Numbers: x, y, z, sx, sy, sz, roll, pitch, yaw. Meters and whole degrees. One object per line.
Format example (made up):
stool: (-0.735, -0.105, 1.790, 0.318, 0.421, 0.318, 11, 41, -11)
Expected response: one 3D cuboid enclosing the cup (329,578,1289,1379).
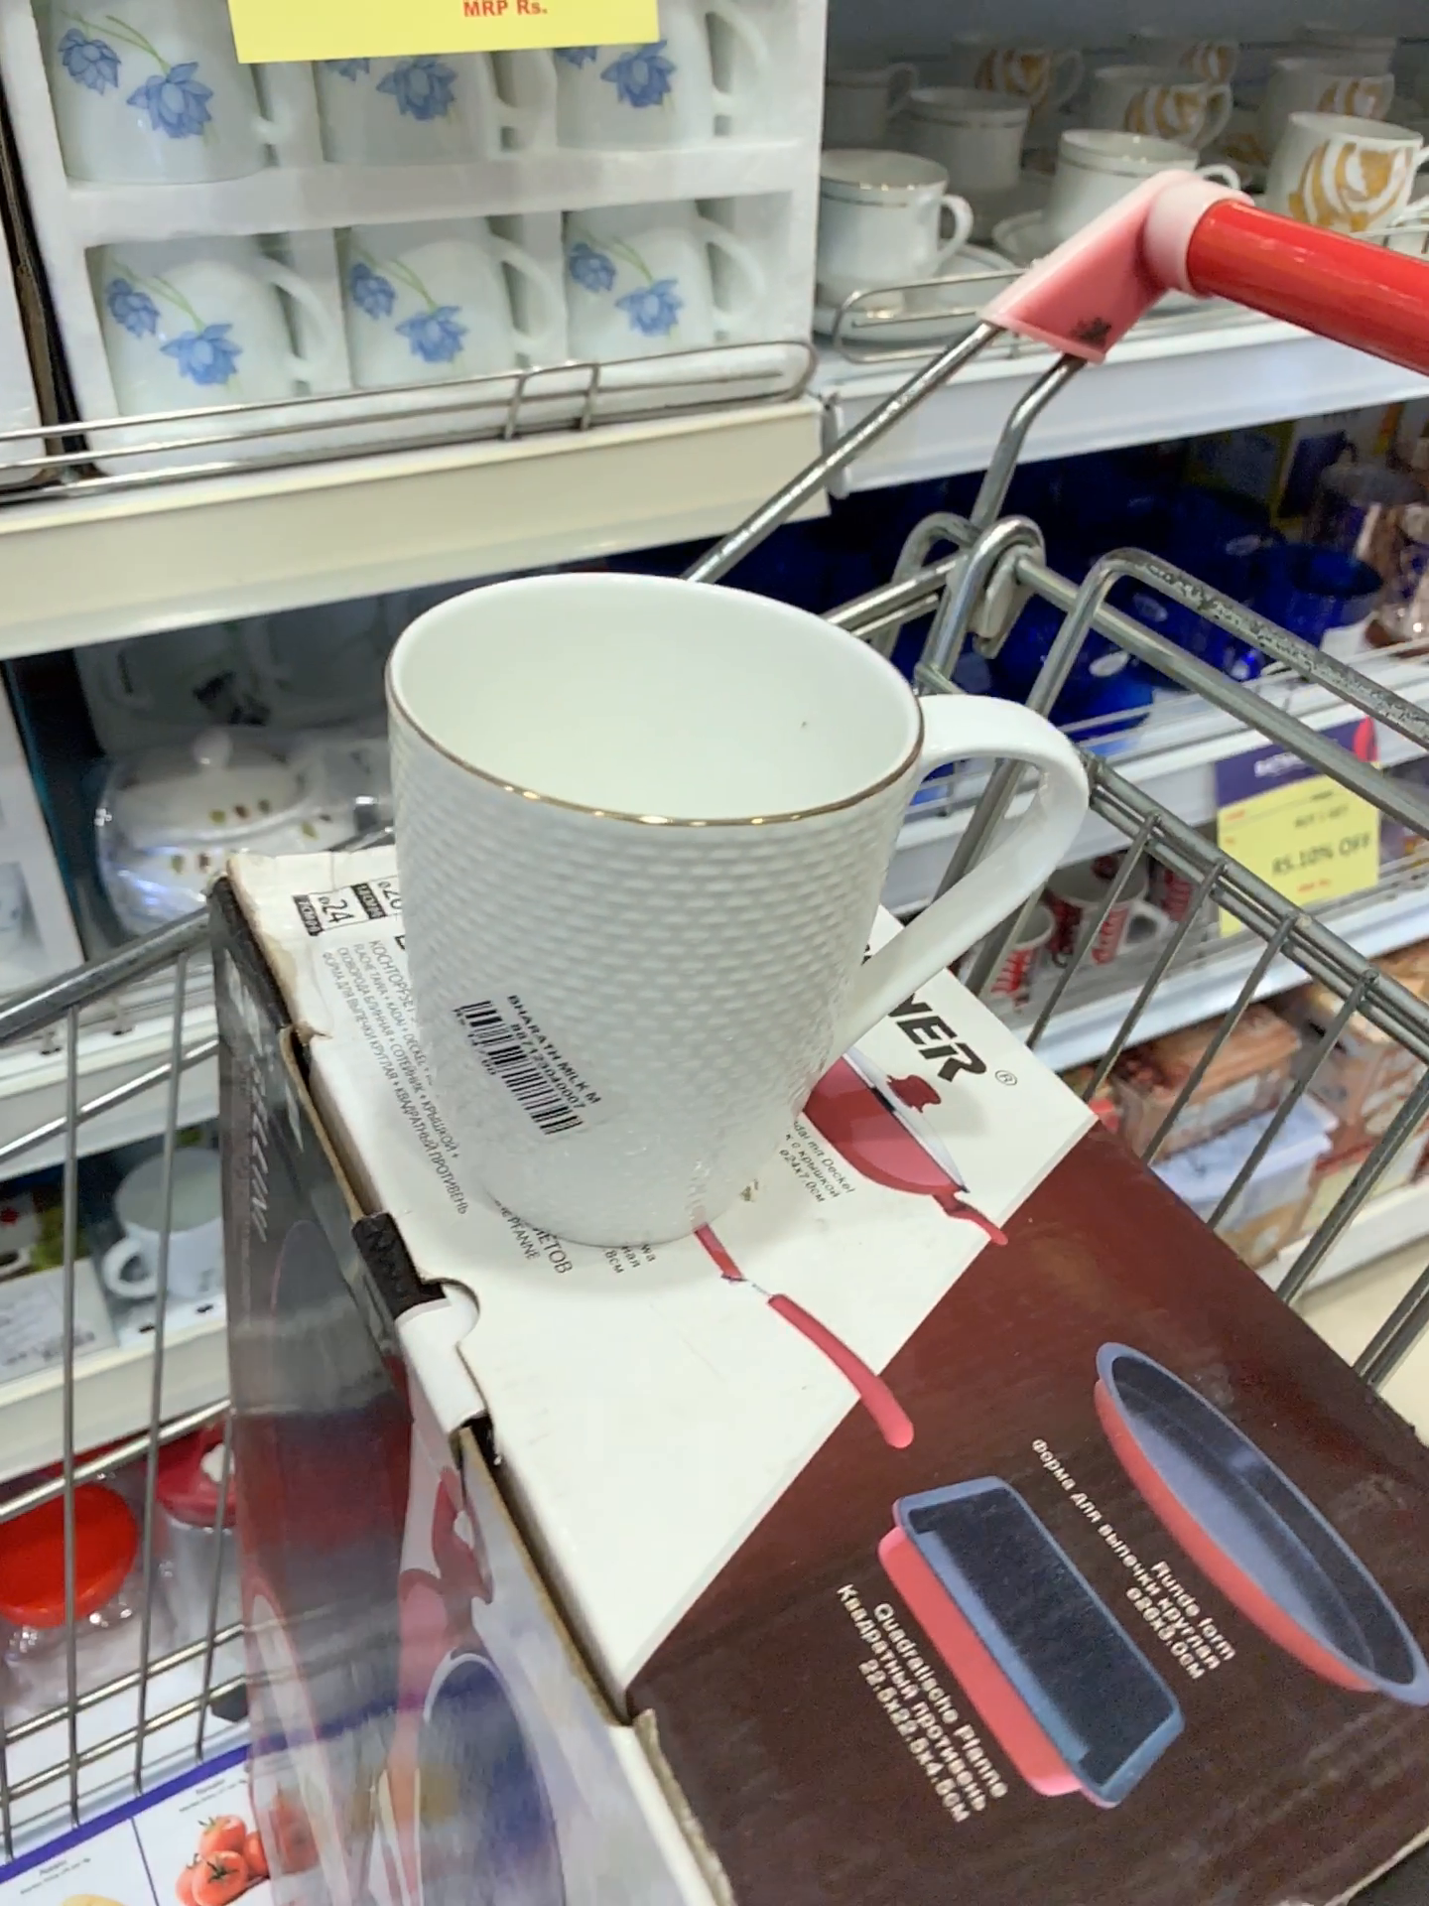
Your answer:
cup: (0.005, -0.003, 0.243, 0.120, 0.080, 0.090, -6, 40, -16)
